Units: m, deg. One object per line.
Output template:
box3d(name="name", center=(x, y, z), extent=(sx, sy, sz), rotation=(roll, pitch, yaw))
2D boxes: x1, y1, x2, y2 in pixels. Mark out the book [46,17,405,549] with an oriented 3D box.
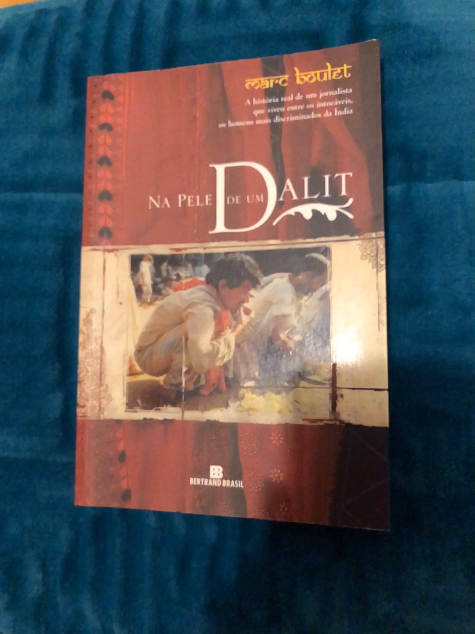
box3d(name="book", center=(-0.007, -0.017, 0.252), extent=(0.160, 0.030, 0.220), rotation=(-1, 85, 14))
